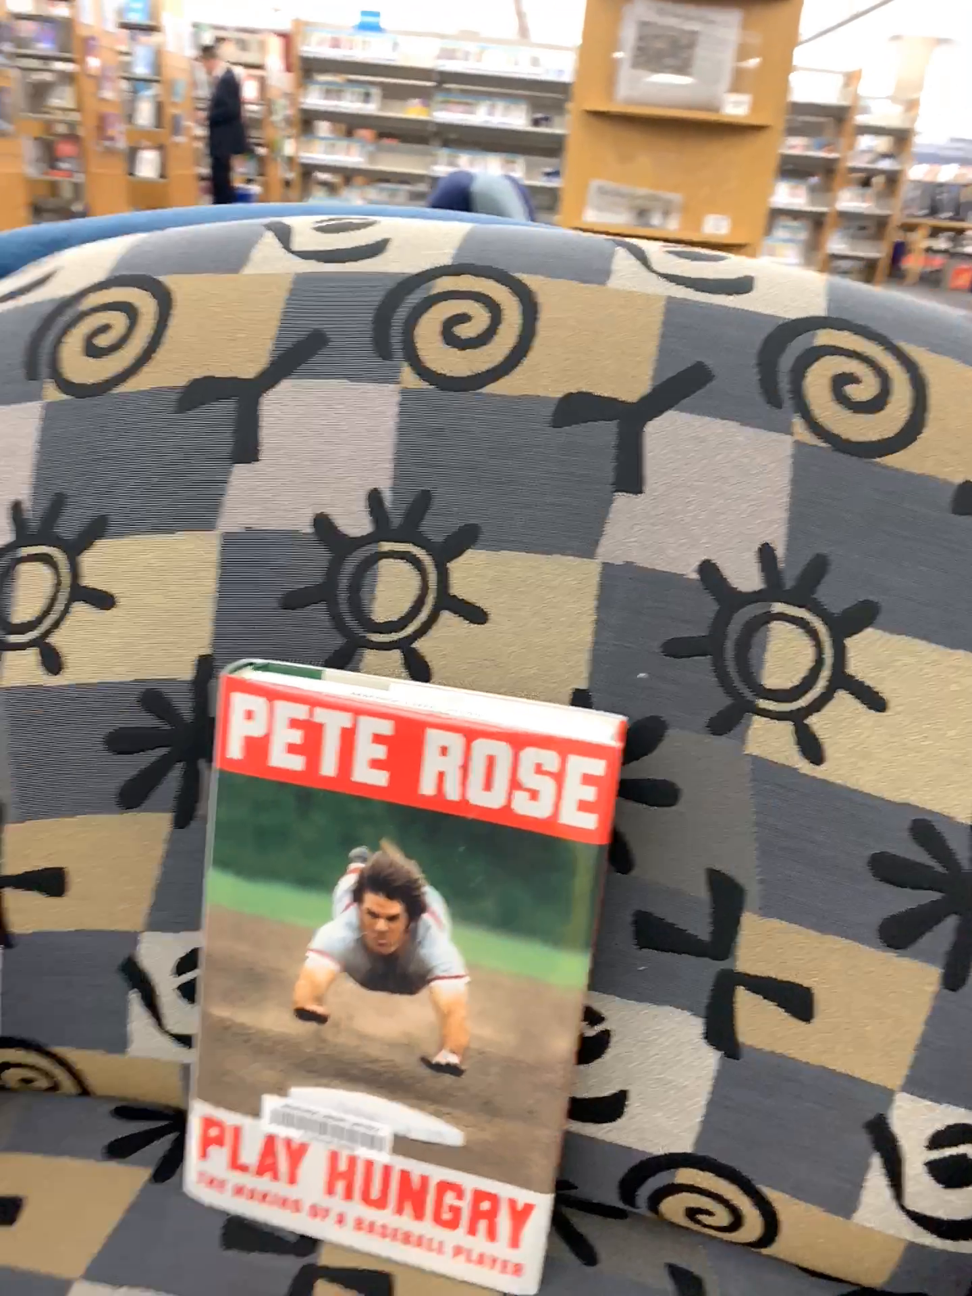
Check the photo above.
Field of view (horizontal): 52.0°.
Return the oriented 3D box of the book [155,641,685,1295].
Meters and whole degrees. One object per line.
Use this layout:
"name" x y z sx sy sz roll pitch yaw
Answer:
"book" -0.033 0.137 0.420 0.190 0.249 0.040 10 11 9
